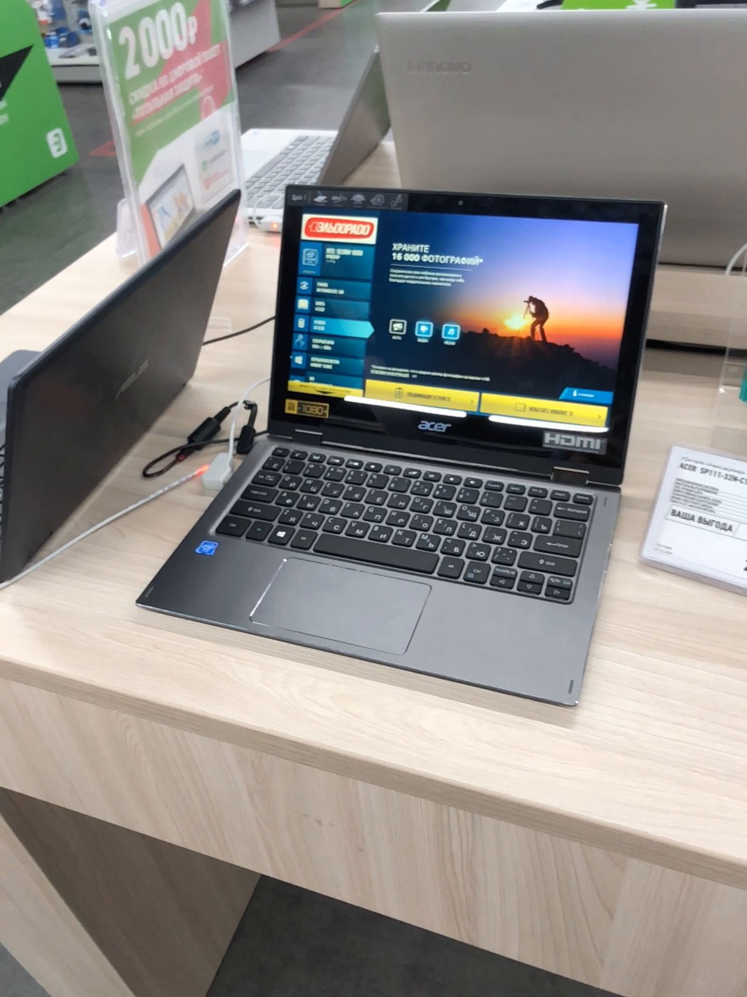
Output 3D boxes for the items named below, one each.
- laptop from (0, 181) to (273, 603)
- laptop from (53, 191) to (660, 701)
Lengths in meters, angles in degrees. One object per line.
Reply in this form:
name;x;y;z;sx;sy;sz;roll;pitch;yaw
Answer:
laptop;-0.279;-0.105;0.640;0.287;0.174;0.276;9;42;18
laptop;0.021;-0.067;0.561;0.287;0.168;0.304;9;41;18
